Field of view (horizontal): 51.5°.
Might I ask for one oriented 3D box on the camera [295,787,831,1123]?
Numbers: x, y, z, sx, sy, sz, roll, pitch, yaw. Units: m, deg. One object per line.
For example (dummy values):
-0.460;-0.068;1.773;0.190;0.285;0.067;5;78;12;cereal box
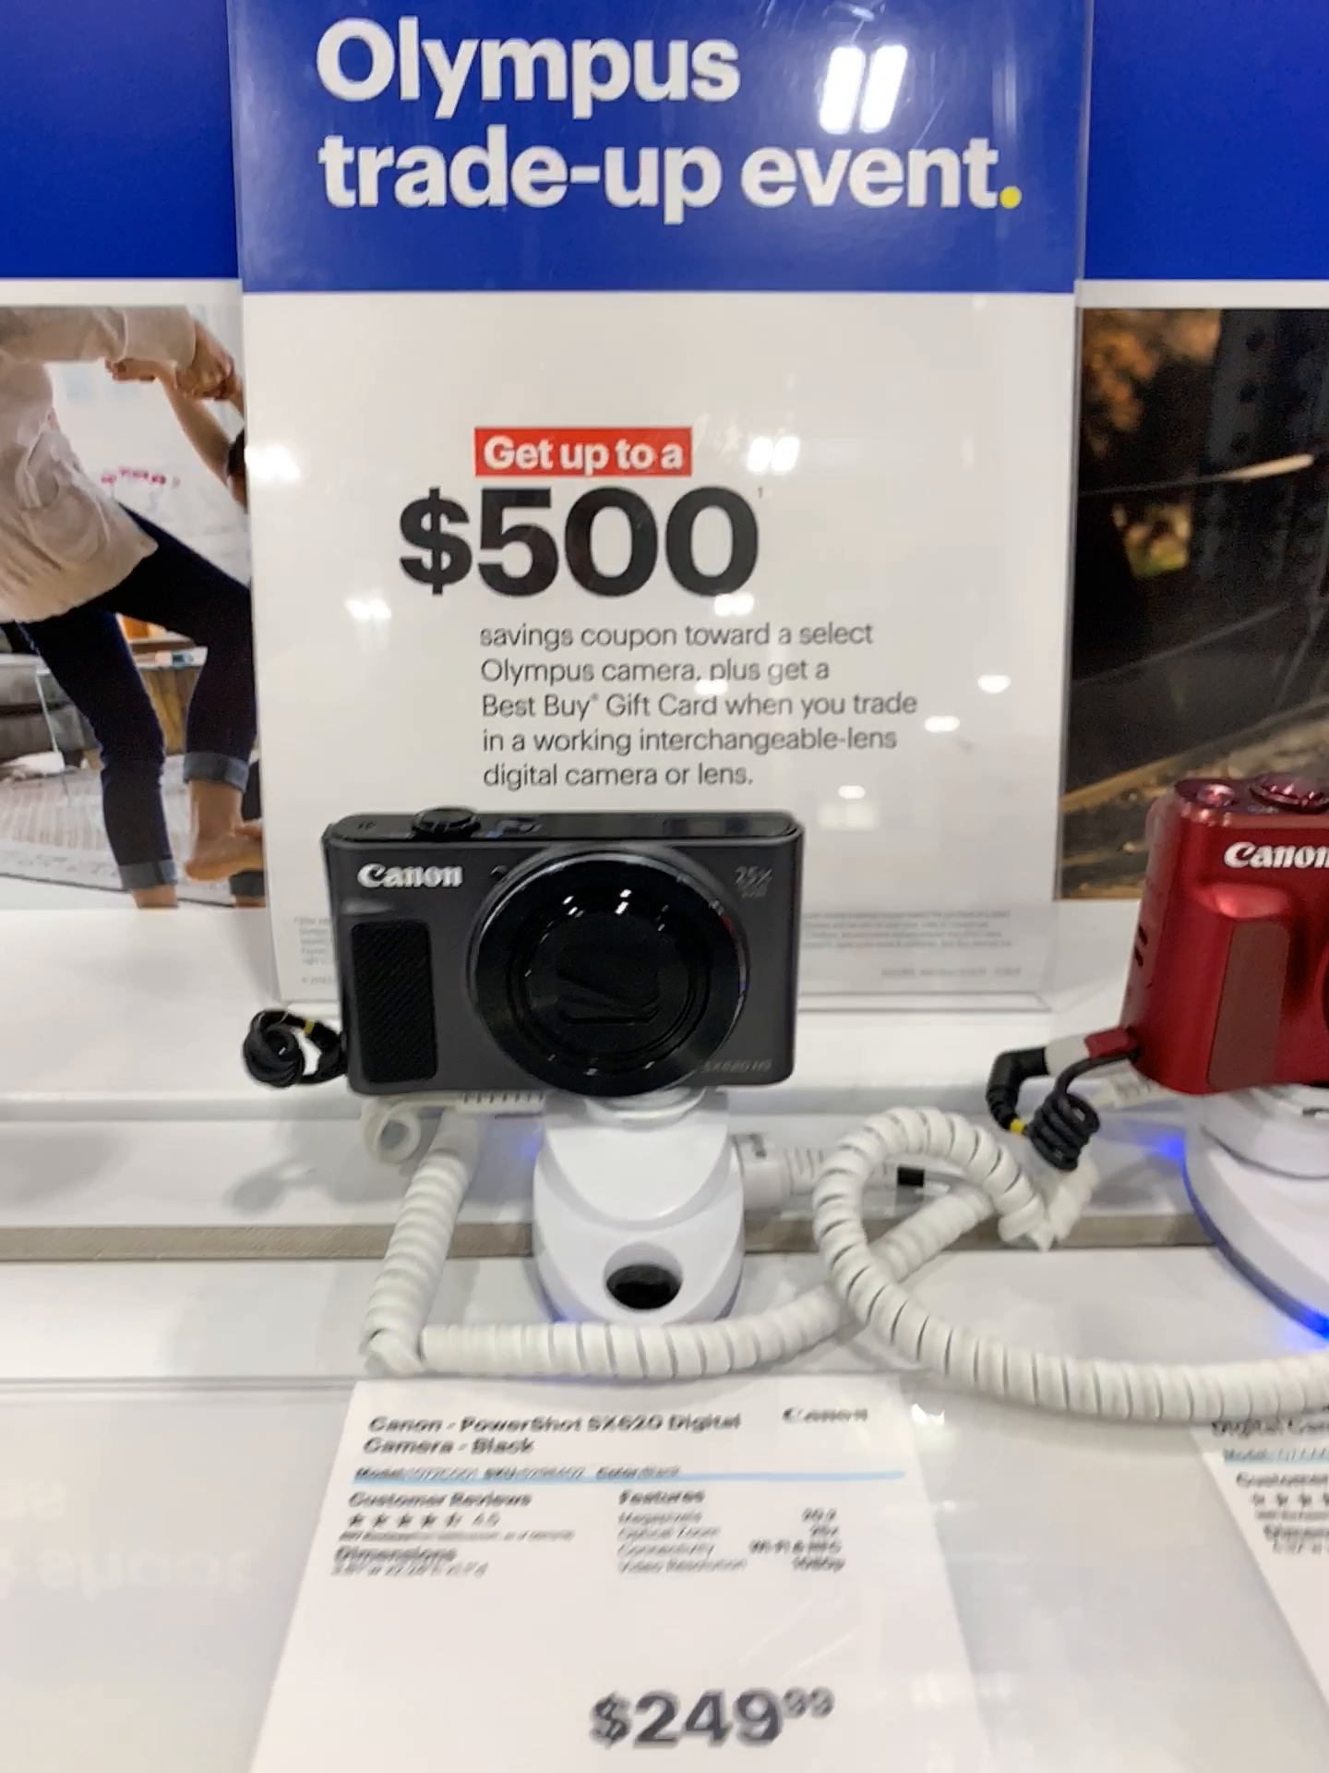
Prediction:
-0.019;0.014;0.282;0.100;0.060;0.030;-1;22;-1;camera
